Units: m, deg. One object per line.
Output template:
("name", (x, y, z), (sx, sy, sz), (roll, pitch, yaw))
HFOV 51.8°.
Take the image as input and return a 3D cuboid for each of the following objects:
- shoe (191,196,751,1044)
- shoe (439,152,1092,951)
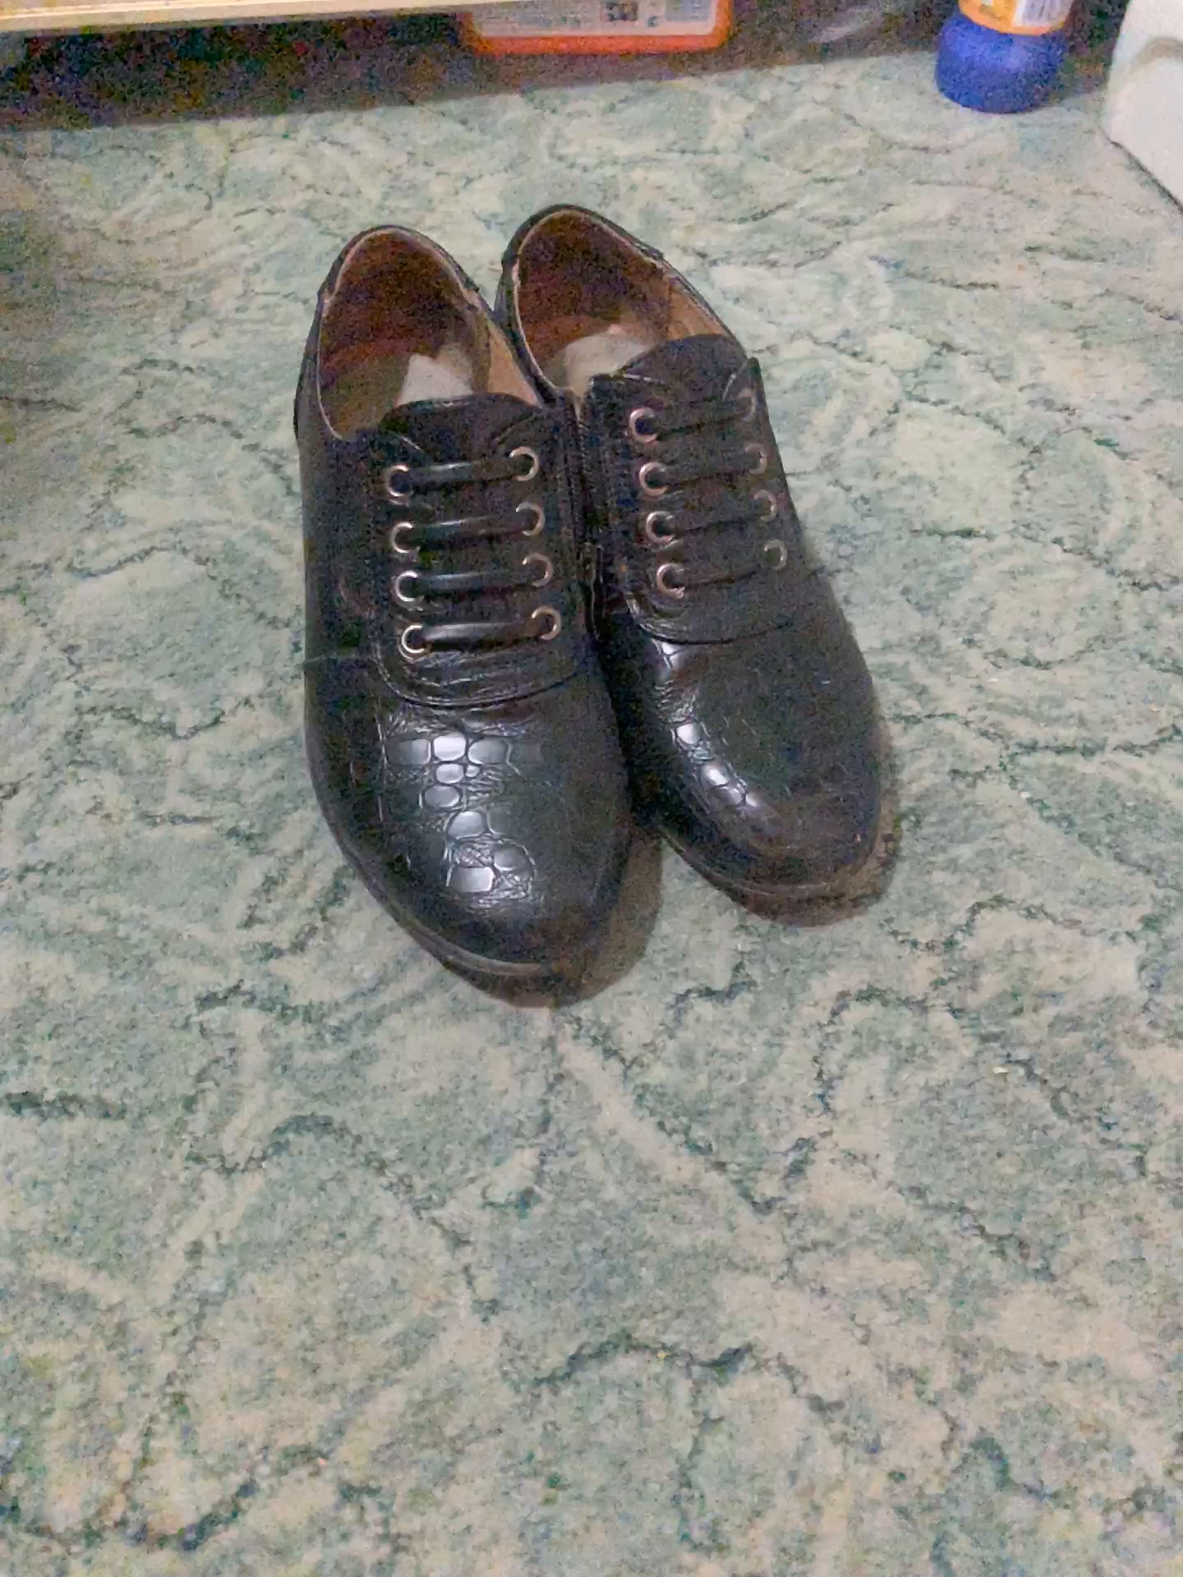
("shoe", (-0.047, -0.059, 0.365), (0.090, 0.119, 0.221), (-13, 55, -14))
("shoe", (0.031, -0.080, 0.375), (0.090, 0.119, 0.211), (-16, 56, -16))
